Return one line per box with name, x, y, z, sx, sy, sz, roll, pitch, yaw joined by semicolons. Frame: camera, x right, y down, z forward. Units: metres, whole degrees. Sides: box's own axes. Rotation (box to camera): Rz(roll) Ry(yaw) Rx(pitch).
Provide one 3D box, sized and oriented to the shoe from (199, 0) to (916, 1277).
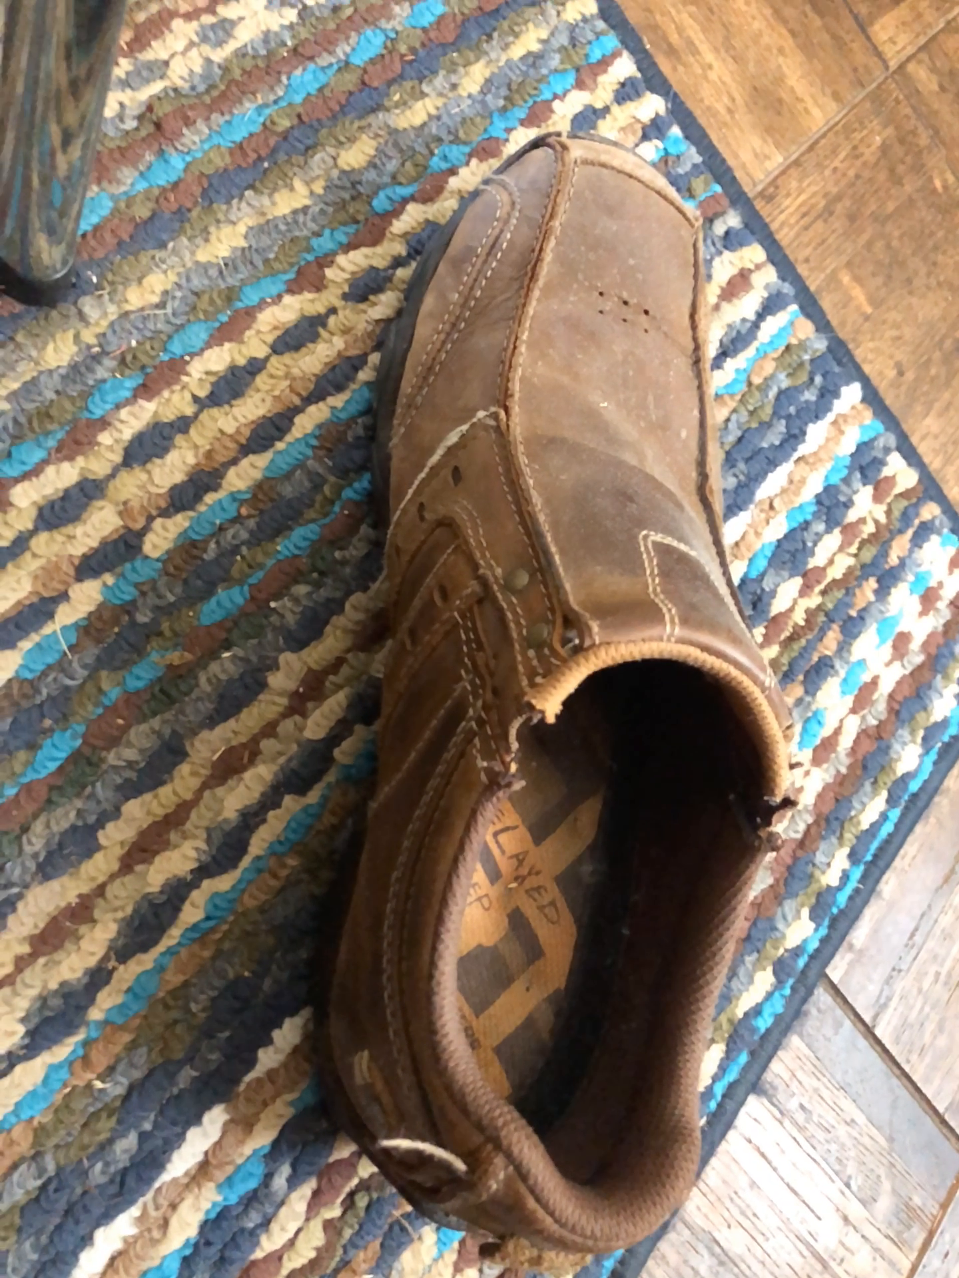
shoe;0.024;-0.004;0.261;0.100;0.100;0.280;17;74;-25
